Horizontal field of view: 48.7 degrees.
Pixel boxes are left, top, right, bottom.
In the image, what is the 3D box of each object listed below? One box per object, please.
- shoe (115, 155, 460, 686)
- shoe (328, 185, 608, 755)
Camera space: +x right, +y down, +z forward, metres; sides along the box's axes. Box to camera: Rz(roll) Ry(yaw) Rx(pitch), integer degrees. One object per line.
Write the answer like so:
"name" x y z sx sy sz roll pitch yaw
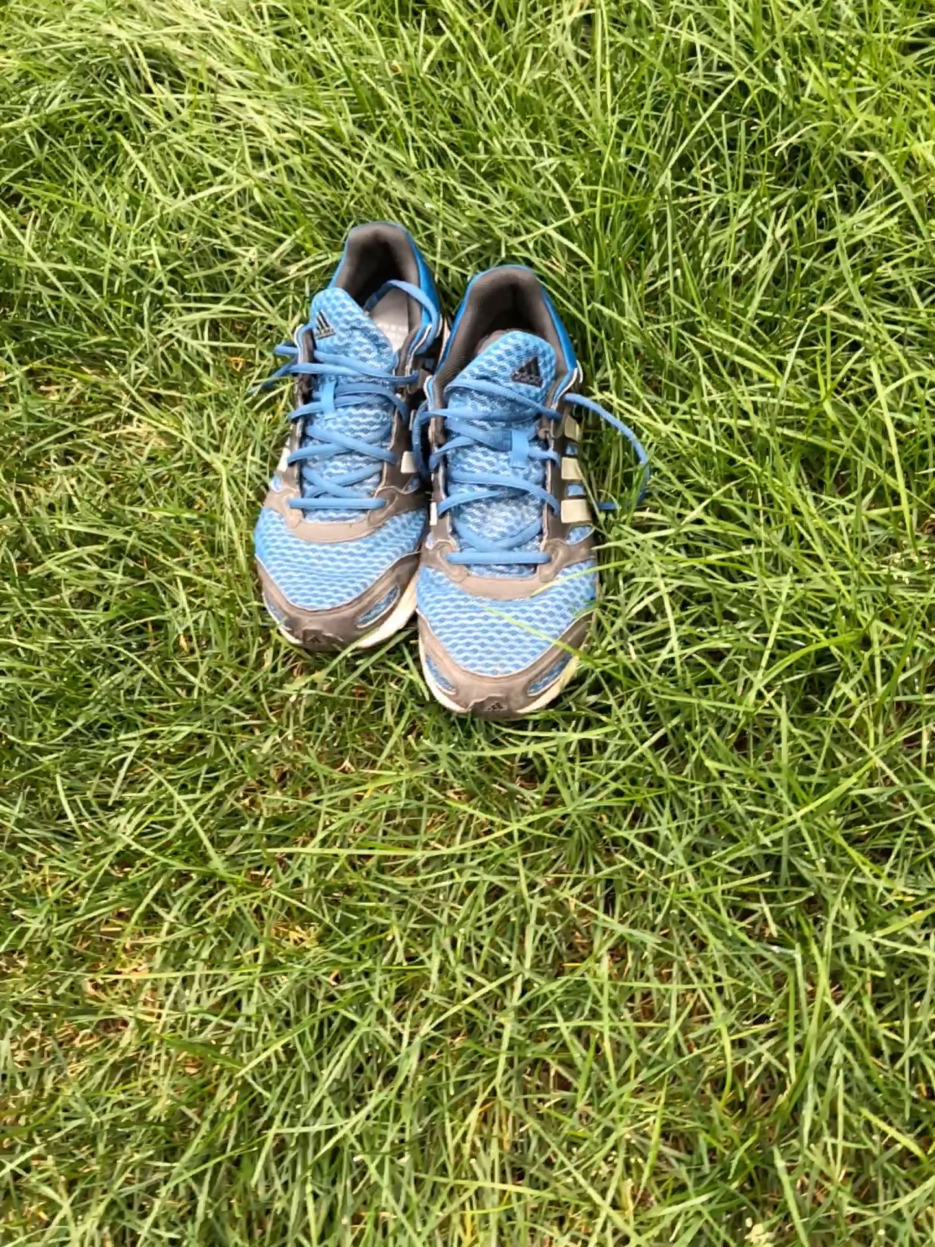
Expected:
"shoe" -0.091 -0.113 0.599 0.120 0.120 0.270 3 73 14
"shoe" 0.011 -0.077 0.571 0.120 0.120 0.280 -2 72 13
